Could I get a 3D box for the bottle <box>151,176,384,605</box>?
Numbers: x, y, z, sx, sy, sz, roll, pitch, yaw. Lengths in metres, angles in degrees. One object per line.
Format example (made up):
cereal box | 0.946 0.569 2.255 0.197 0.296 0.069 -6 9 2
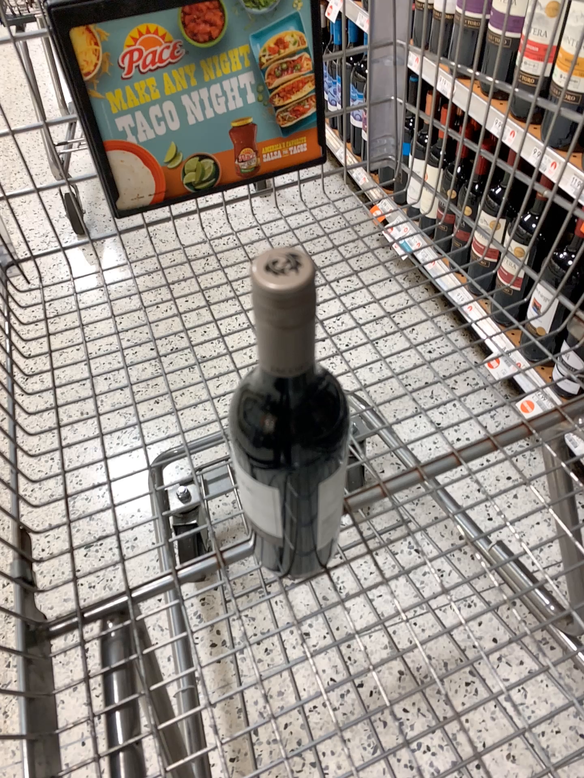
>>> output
bottle | -0.004 0.036 0.381 0.090 0.317 0.091 -2 52 3
